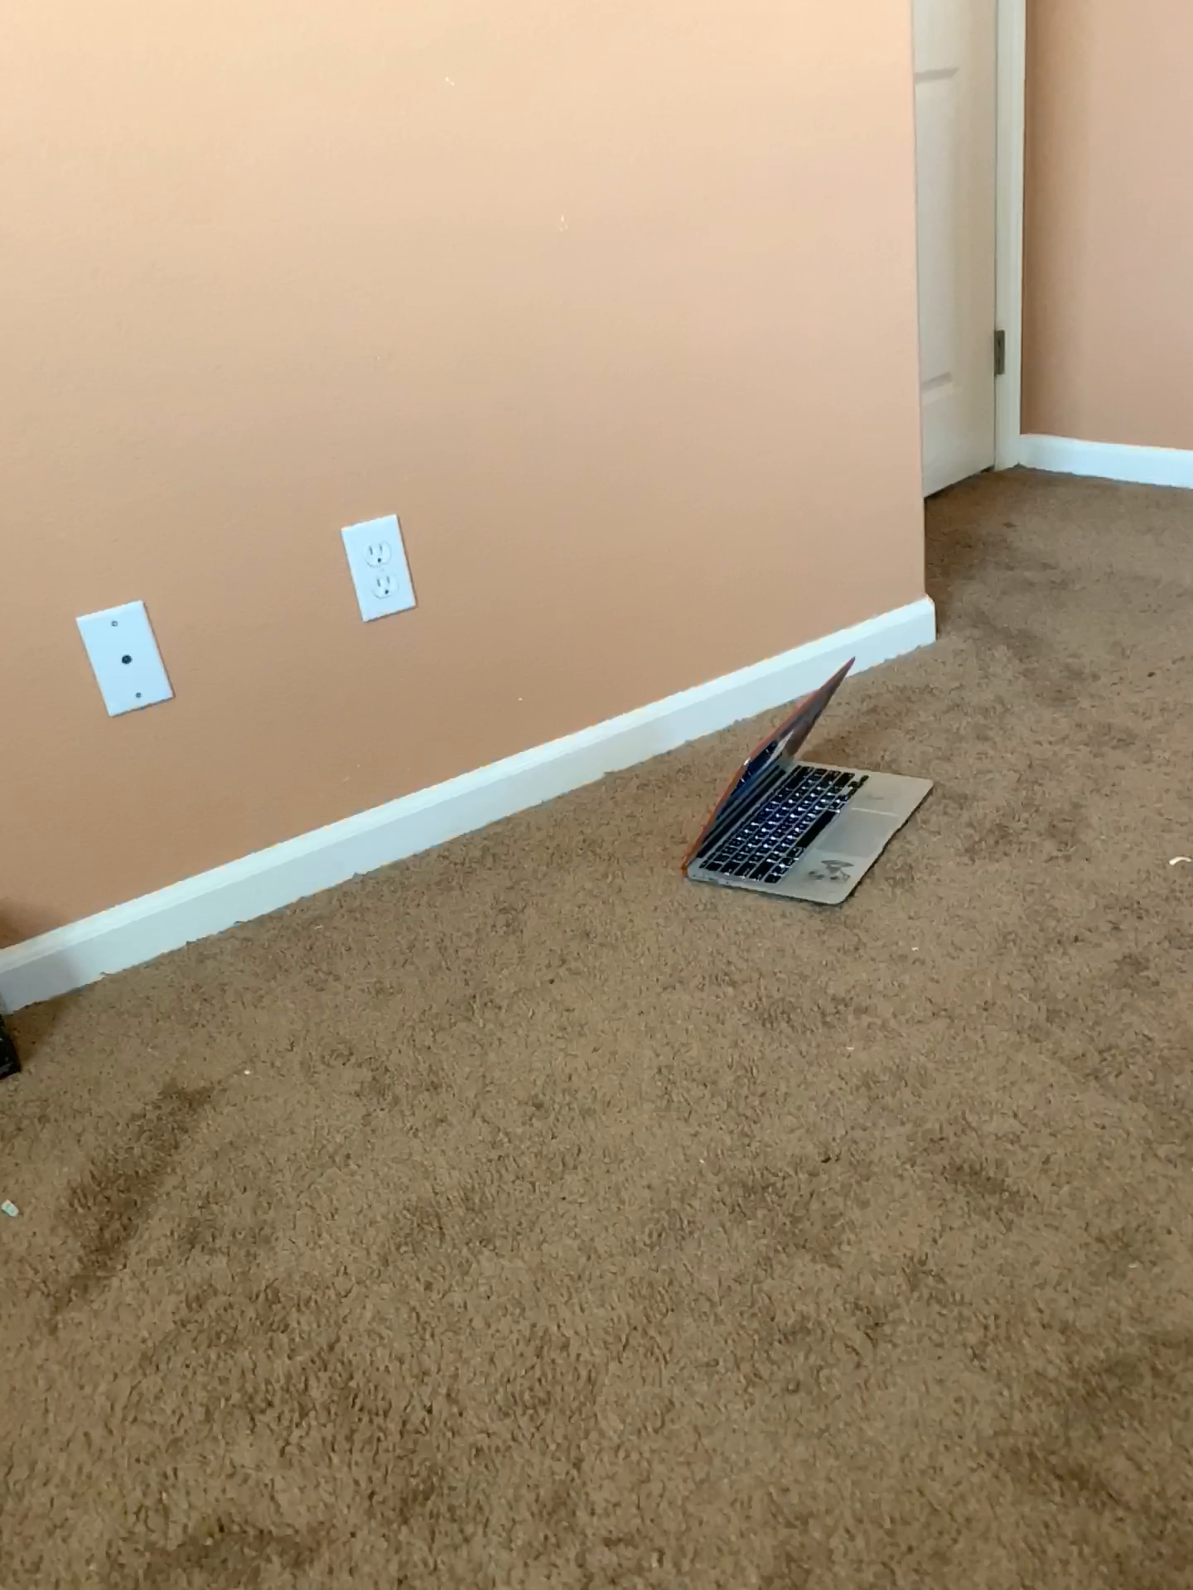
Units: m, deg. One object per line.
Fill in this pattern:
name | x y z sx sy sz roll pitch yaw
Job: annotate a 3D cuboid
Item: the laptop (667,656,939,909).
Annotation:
laptop | 0.246 -0.028 1.388 0.193 0.148 0.300 9 32 32
